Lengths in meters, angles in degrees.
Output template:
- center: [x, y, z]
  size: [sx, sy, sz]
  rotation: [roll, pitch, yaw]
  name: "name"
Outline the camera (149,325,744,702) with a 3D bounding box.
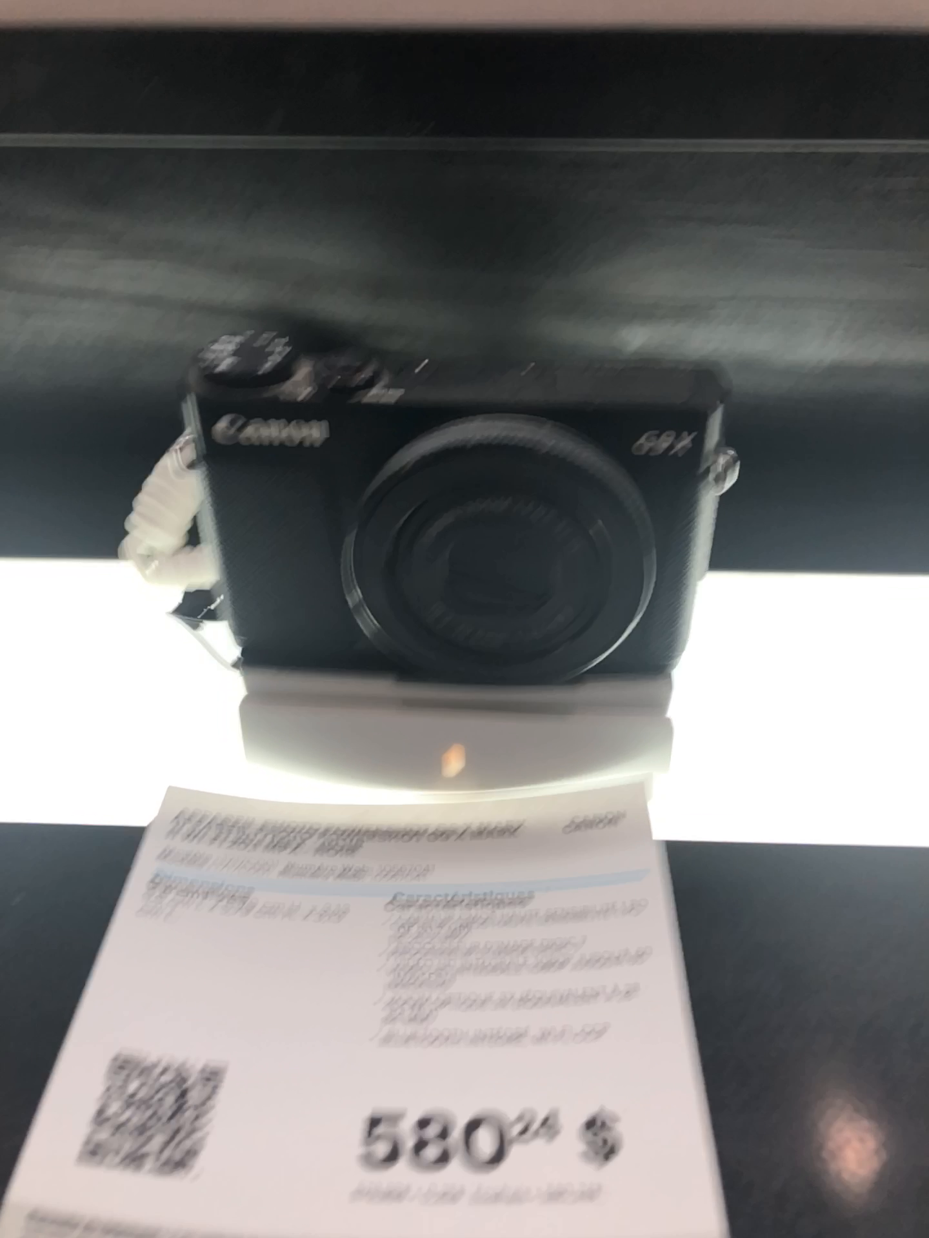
- center: [-0.002, -0.018, 0.187]
  size: [0.092, 0.060, 0.026]
  rotation: [2, 34, 4]
  name: "camera"
